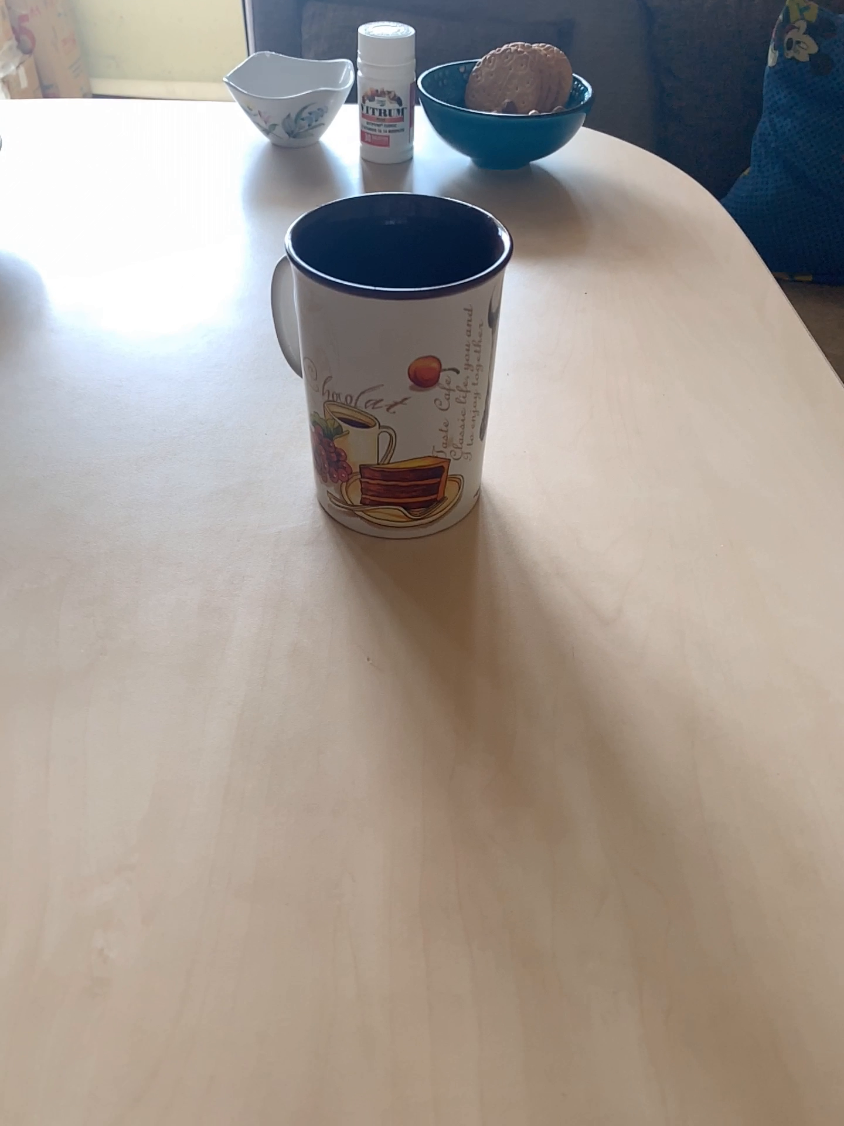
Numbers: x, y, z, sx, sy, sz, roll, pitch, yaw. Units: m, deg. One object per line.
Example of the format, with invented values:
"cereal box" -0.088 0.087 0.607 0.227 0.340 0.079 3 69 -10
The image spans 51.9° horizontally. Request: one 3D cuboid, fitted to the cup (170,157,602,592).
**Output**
"cup" -0.015 -0.081 0.354 0.130 0.110 0.090 29 50 26
